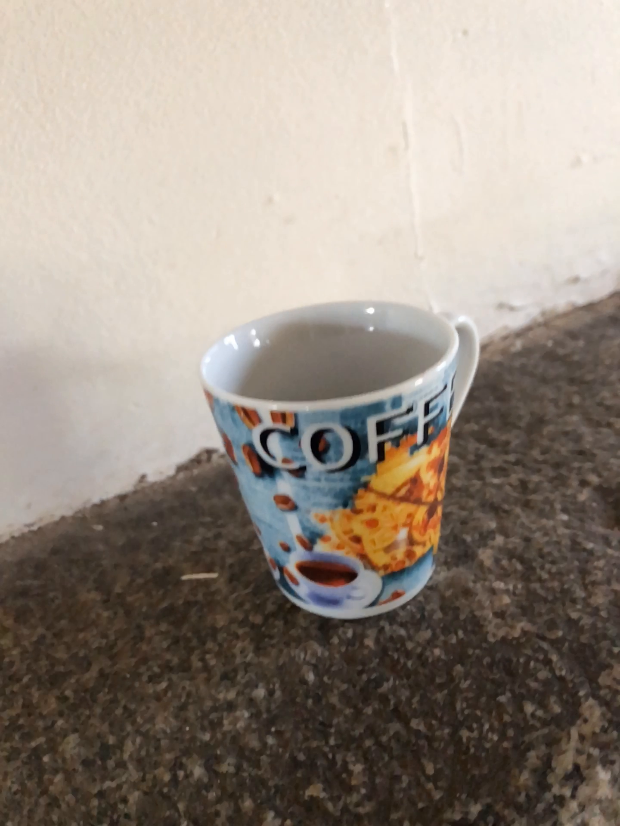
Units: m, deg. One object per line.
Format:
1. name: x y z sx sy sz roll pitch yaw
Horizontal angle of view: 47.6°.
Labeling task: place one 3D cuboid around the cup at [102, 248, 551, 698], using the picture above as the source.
1. cup: 0.010 0.005 0.166 0.060 0.060 0.080 17 38 41
